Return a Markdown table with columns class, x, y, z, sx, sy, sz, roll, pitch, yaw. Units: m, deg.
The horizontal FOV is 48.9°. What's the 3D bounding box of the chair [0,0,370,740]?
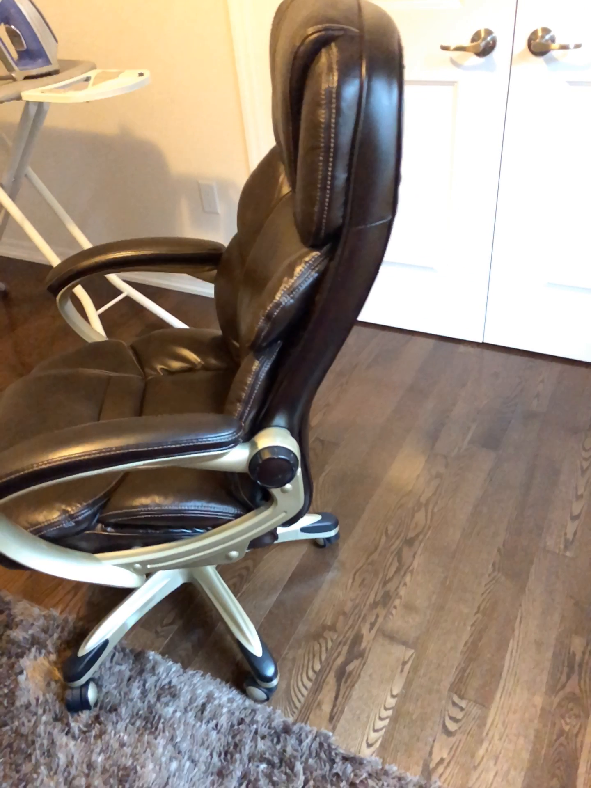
| class | x | y | z | sx | sy | sz | roll | pitch | yaw |
| --- | --- | --- | --- | --- | --- | --- | --- | --- | --- |
| chair | -0.295 | -0.050 | 1.178 | 0.740 | 1.135 | 0.733 | -5 | 37 | 1 |
